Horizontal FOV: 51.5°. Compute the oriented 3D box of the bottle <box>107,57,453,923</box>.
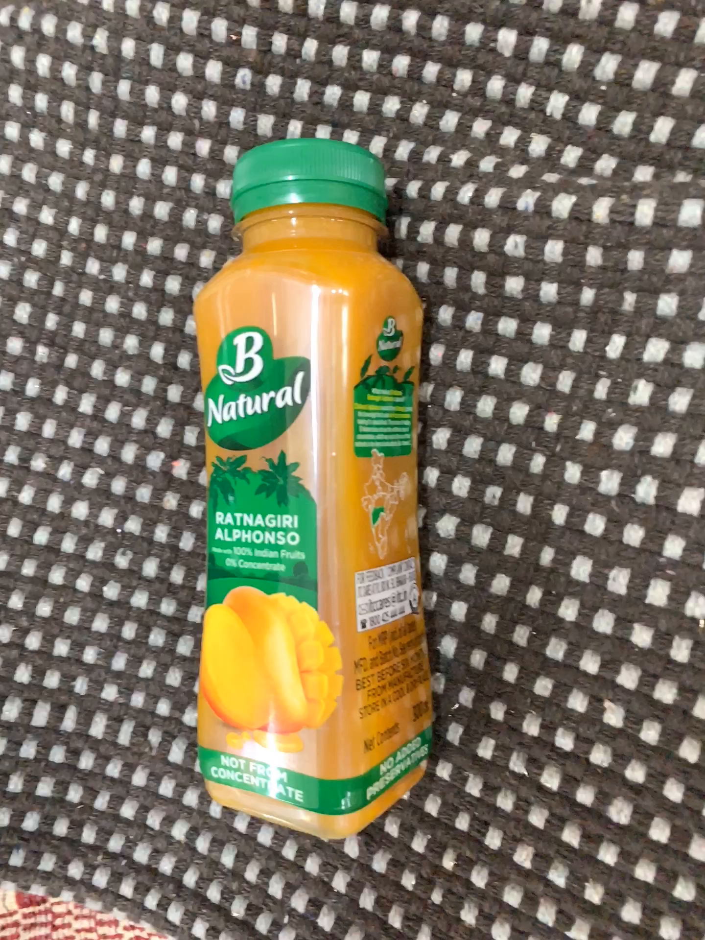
[{"bbox_3d":[-0.014,0.005,0.171,0.060,0.050,0.160,2,95,29],"label":"bottle"}]
